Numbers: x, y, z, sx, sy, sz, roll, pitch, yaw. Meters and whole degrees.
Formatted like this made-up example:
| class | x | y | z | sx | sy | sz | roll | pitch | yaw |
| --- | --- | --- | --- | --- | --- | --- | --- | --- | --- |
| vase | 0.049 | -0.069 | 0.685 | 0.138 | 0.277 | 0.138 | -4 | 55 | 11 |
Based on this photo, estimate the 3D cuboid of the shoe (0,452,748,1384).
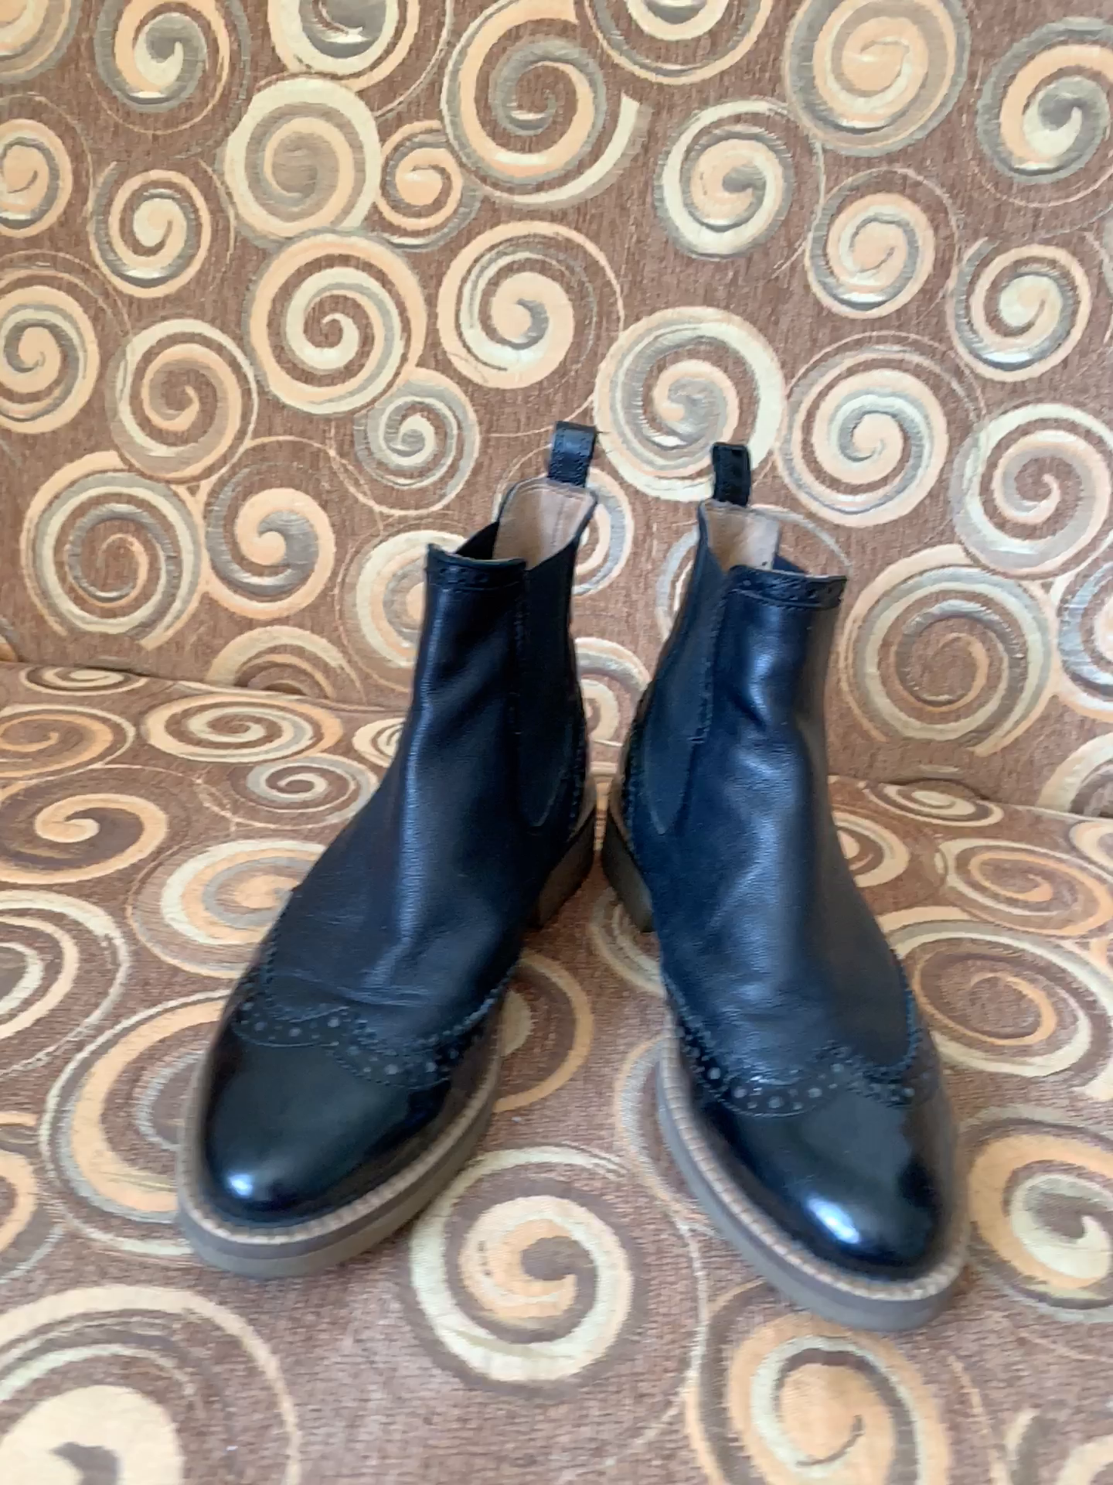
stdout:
| class | x | y | z | sx | sy | sz | roll | pitch | yaw |
| --- | --- | --- | --- | --- | --- | --- | --- | --- | --- |
| shoe | -0.029 | 0.020 | 0.340 | 0.100 | 0.139 | 0.241 | 14 | 31 | 16 |

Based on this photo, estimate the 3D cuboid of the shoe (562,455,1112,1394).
| class | x | y | z | sx | sy | sz | roll | pitch | yaw |
| --- | --- | --- | --- | --- | --- | --- | --- | --- | --- |
| shoe | 0.076 | 0.021 | 0.370 | 0.100 | 0.139 | 0.292 | 0 | 31 | -9 |
